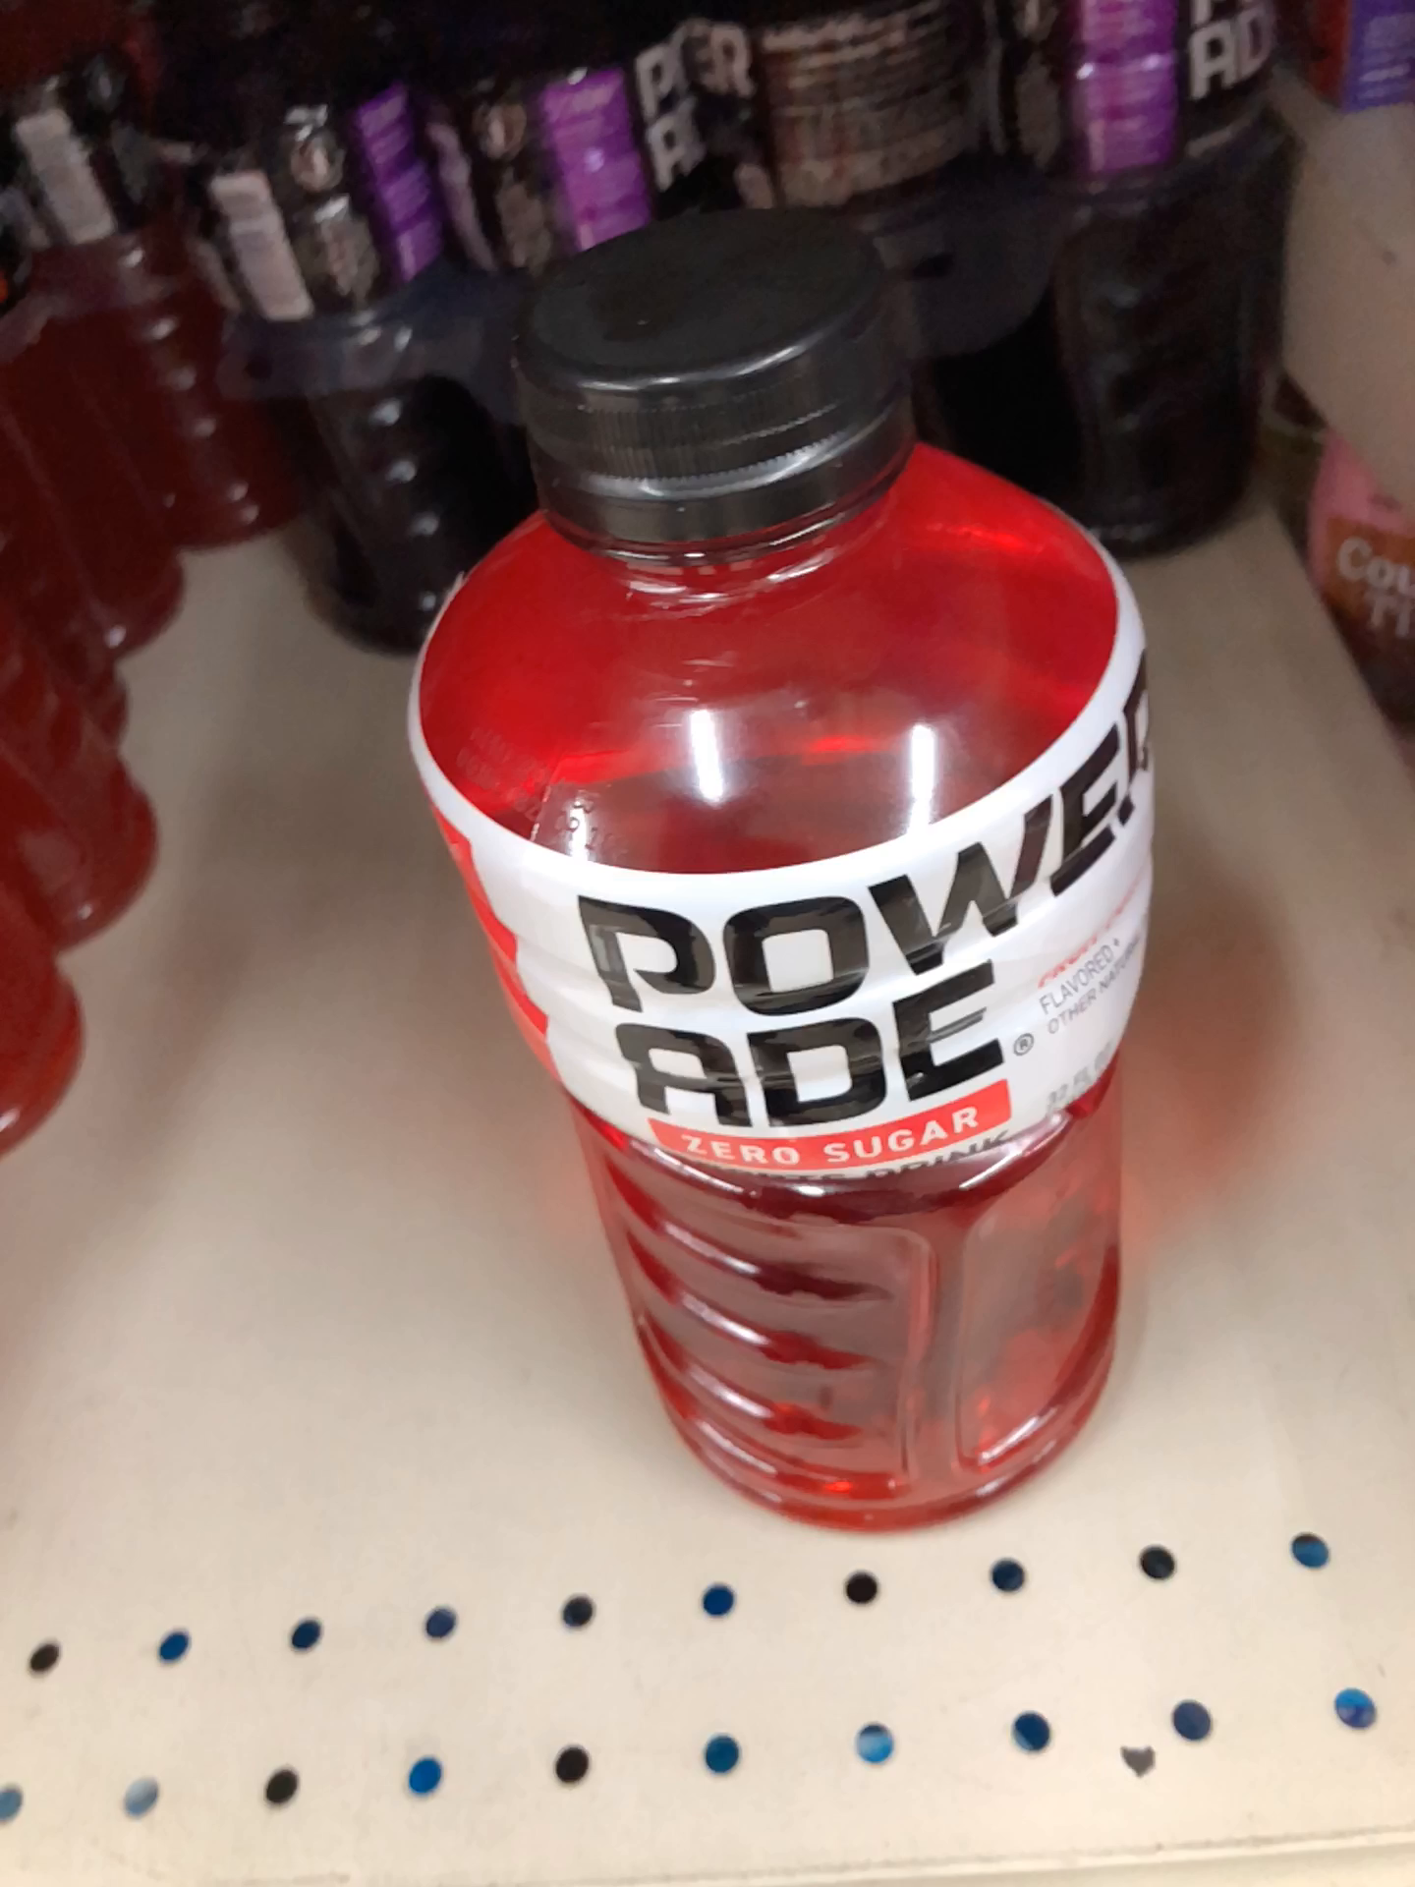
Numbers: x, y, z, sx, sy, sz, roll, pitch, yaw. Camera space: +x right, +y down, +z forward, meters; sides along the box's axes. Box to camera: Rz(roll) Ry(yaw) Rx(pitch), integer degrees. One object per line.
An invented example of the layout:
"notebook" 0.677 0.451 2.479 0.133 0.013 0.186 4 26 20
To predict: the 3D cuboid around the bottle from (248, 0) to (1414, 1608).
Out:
"bottle" 0.018 -0.002 0.221 0.095 0.190 0.095 -6 46 6
